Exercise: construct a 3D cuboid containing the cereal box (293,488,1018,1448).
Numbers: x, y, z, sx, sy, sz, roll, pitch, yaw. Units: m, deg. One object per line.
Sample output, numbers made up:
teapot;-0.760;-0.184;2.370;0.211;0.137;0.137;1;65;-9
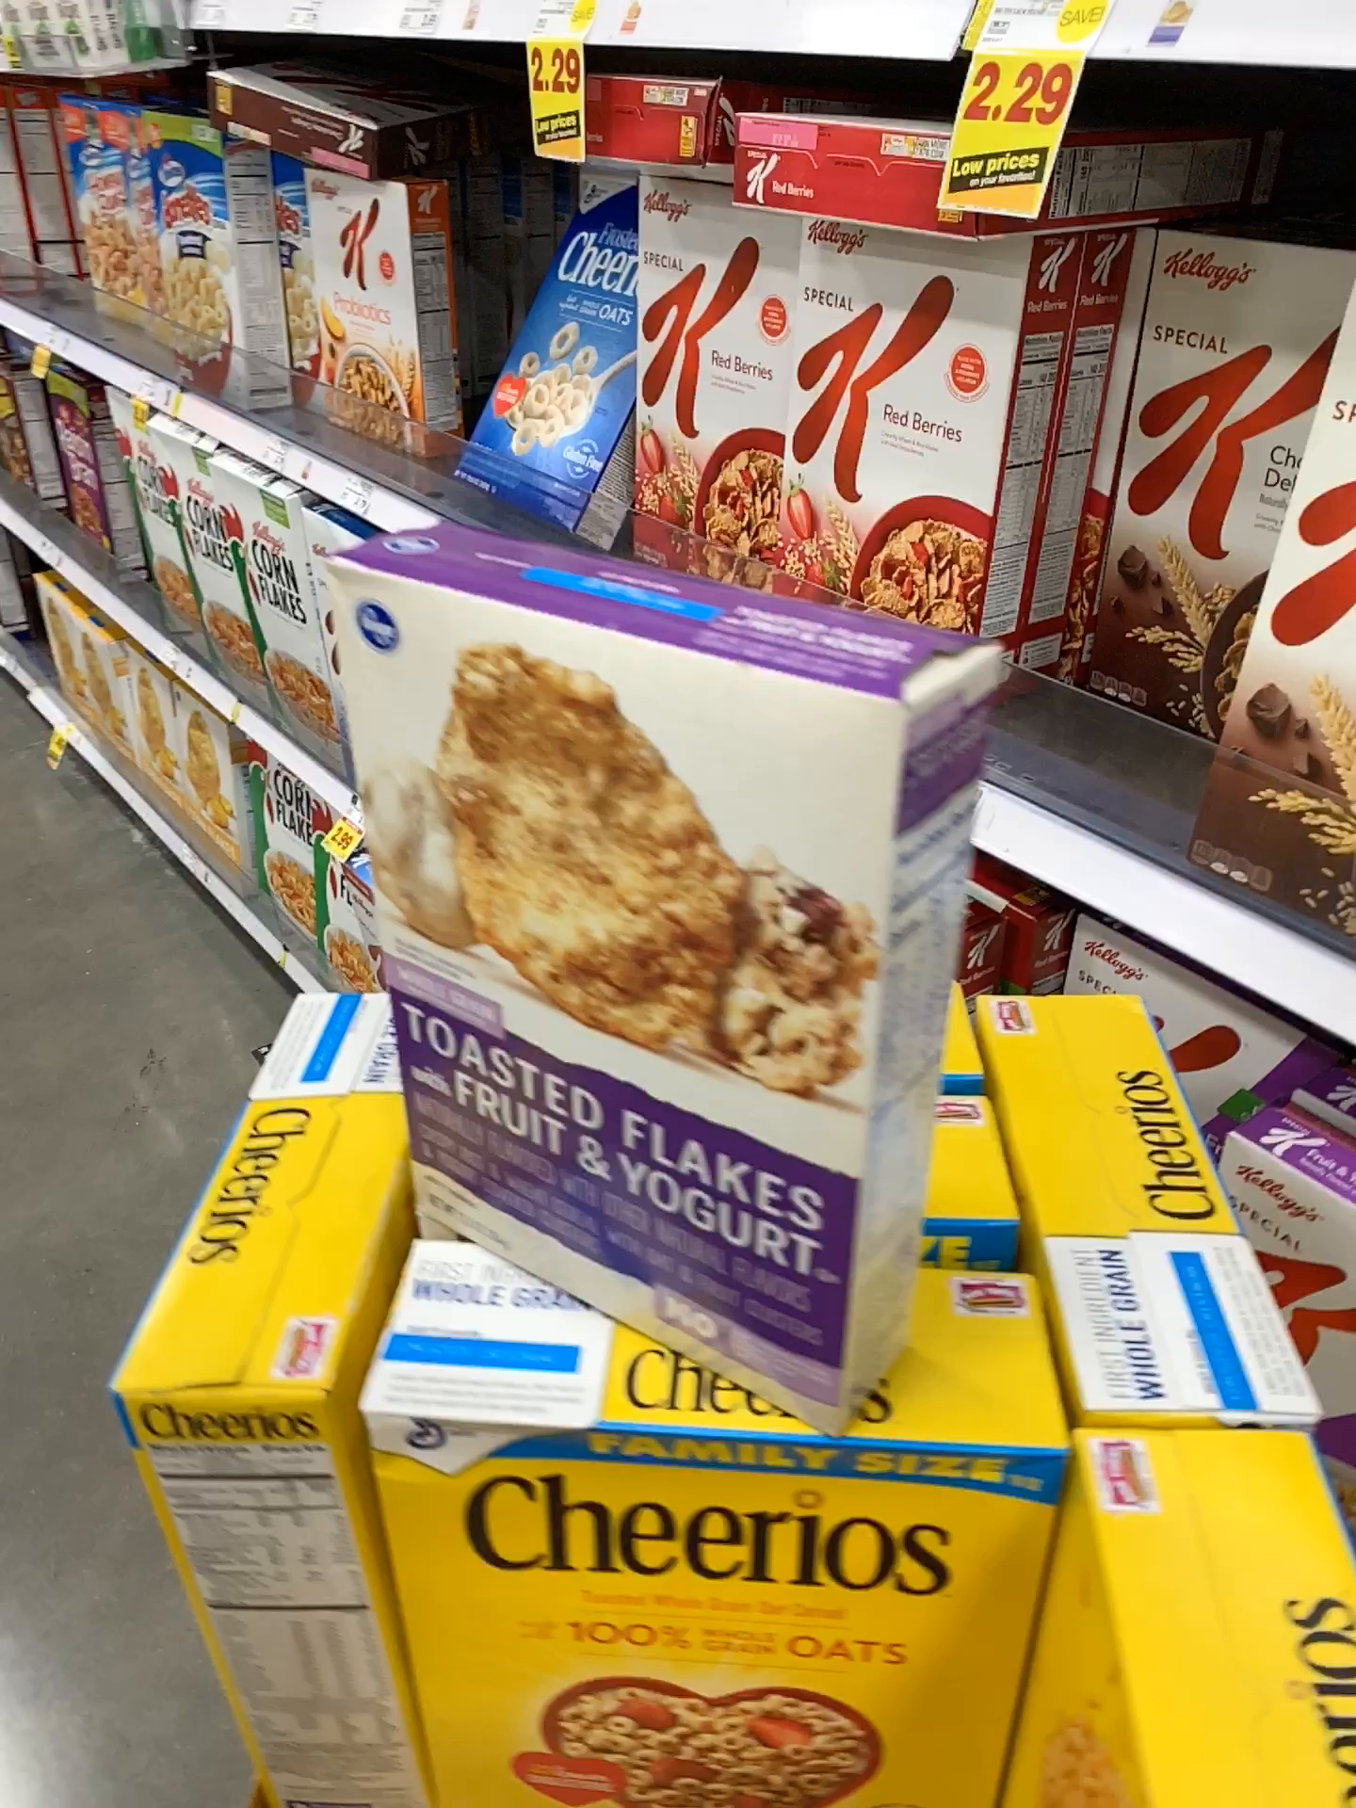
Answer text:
cereal box;-0.013;0.023;0.452;0.200;0.268;0.060;20;38;28
